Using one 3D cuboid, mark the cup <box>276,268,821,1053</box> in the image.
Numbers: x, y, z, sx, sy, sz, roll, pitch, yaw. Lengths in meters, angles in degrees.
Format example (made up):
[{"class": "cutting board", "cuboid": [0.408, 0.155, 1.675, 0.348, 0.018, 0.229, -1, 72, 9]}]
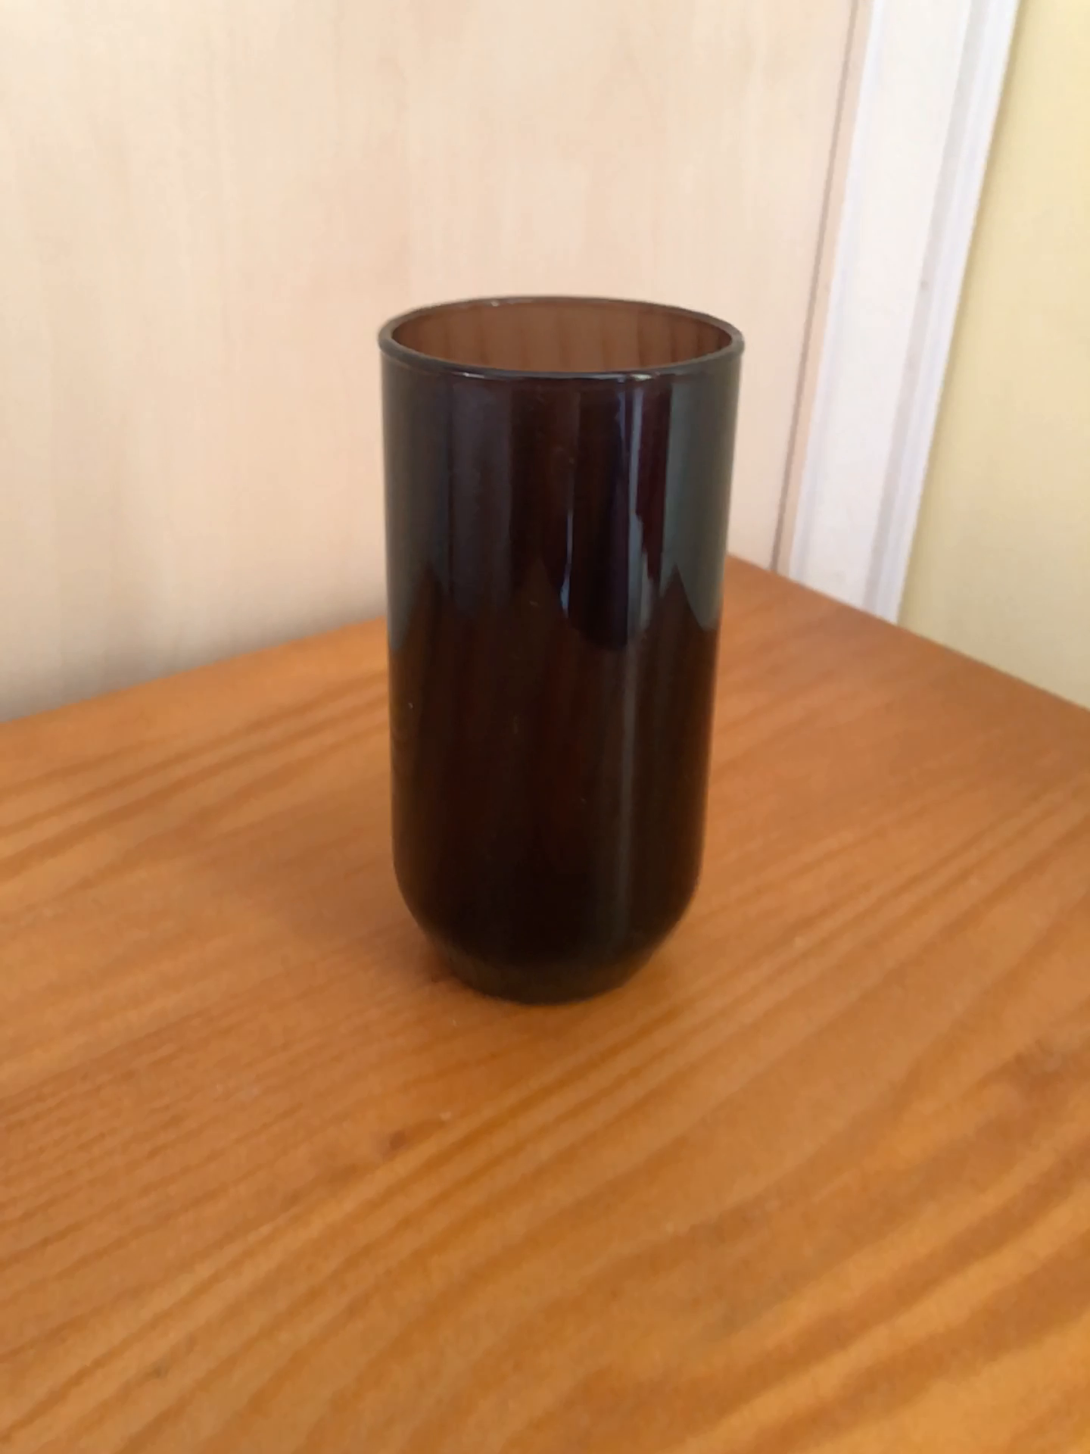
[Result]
[{"class": "cup", "cuboid": [0.001, -0.015, 0.215, 0.061, 0.112, 0.061, 2, 29, -1]}]
